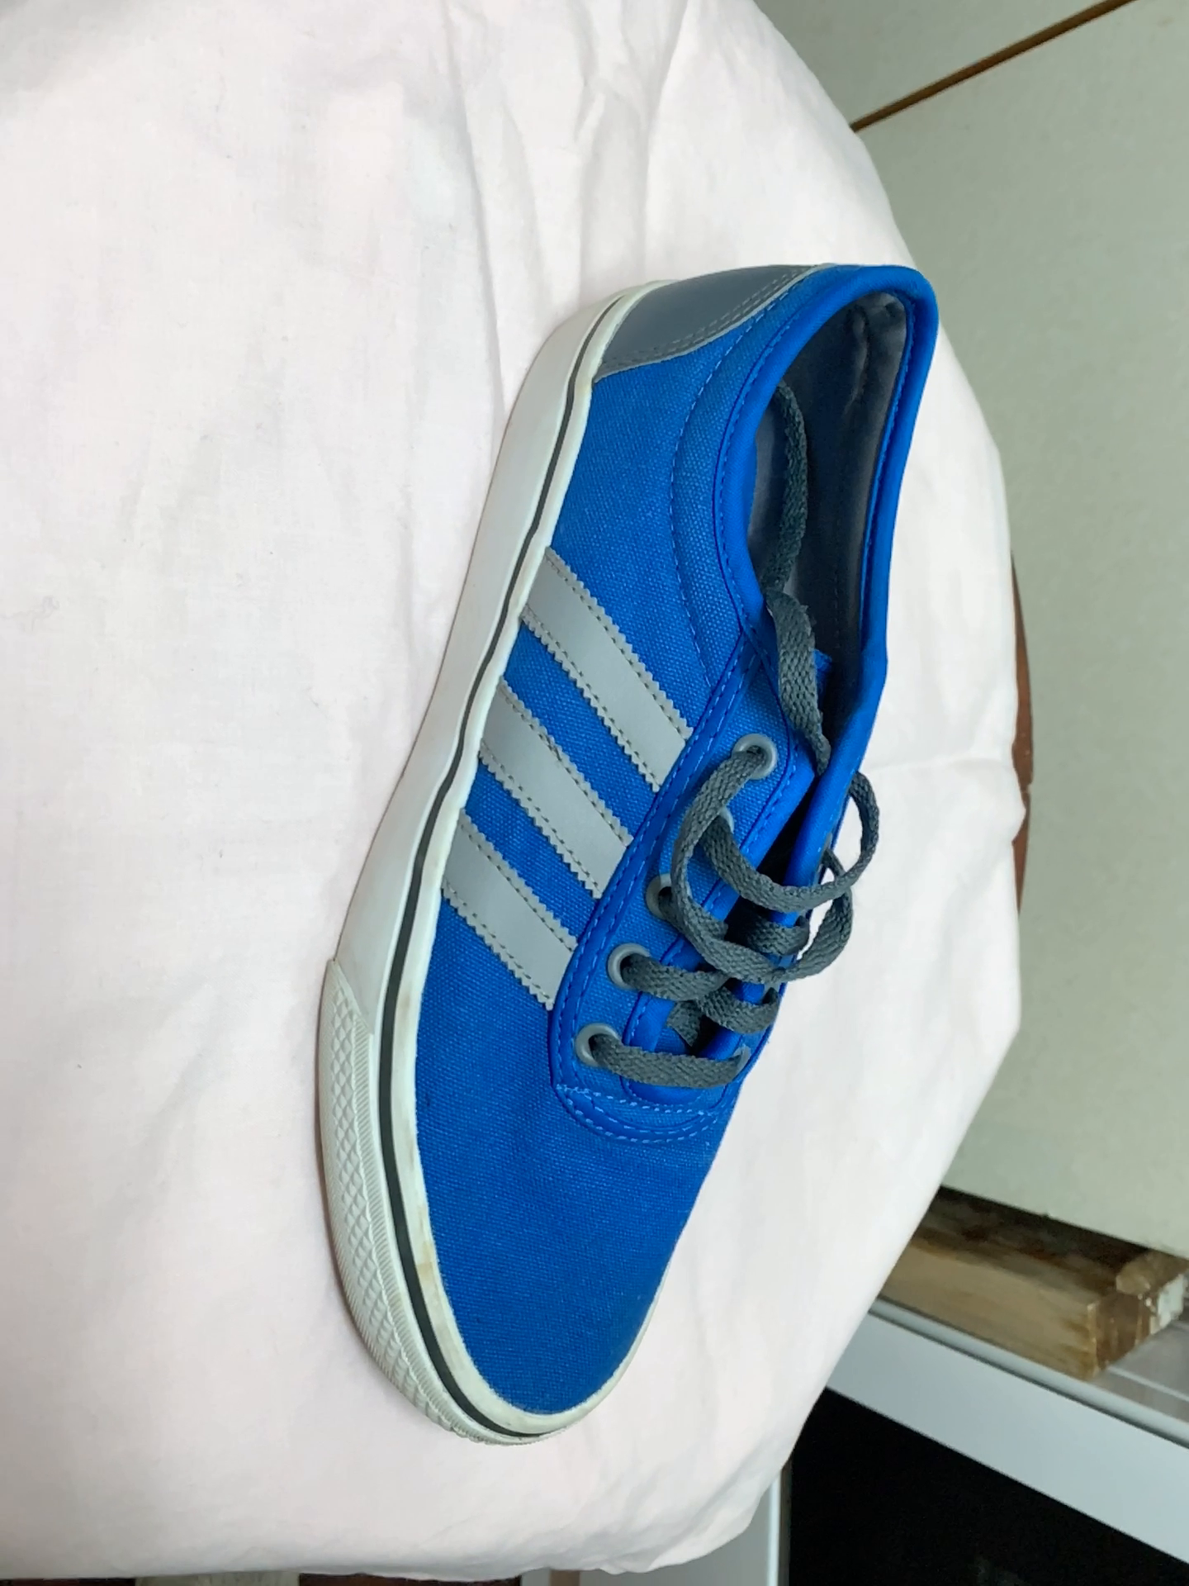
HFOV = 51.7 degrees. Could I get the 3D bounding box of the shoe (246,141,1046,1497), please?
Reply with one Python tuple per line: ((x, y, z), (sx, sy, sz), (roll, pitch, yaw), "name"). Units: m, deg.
((0.016, 0.006, 0.272), (0.100, 0.089, 0.234), (18, 79, -39), "shoe")
